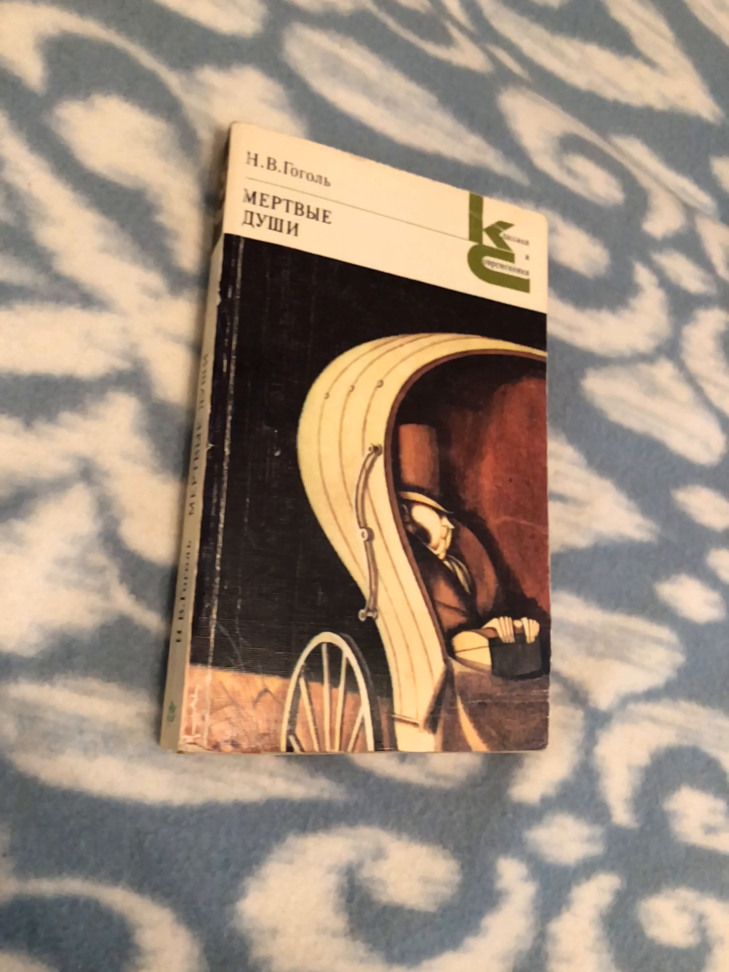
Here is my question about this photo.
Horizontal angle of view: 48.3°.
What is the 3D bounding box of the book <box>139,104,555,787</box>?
[{"bbox_3d":[0.002,-0.011,0.265,0.126,0.025,0.199,8,76,-24],"label":"book"}]
